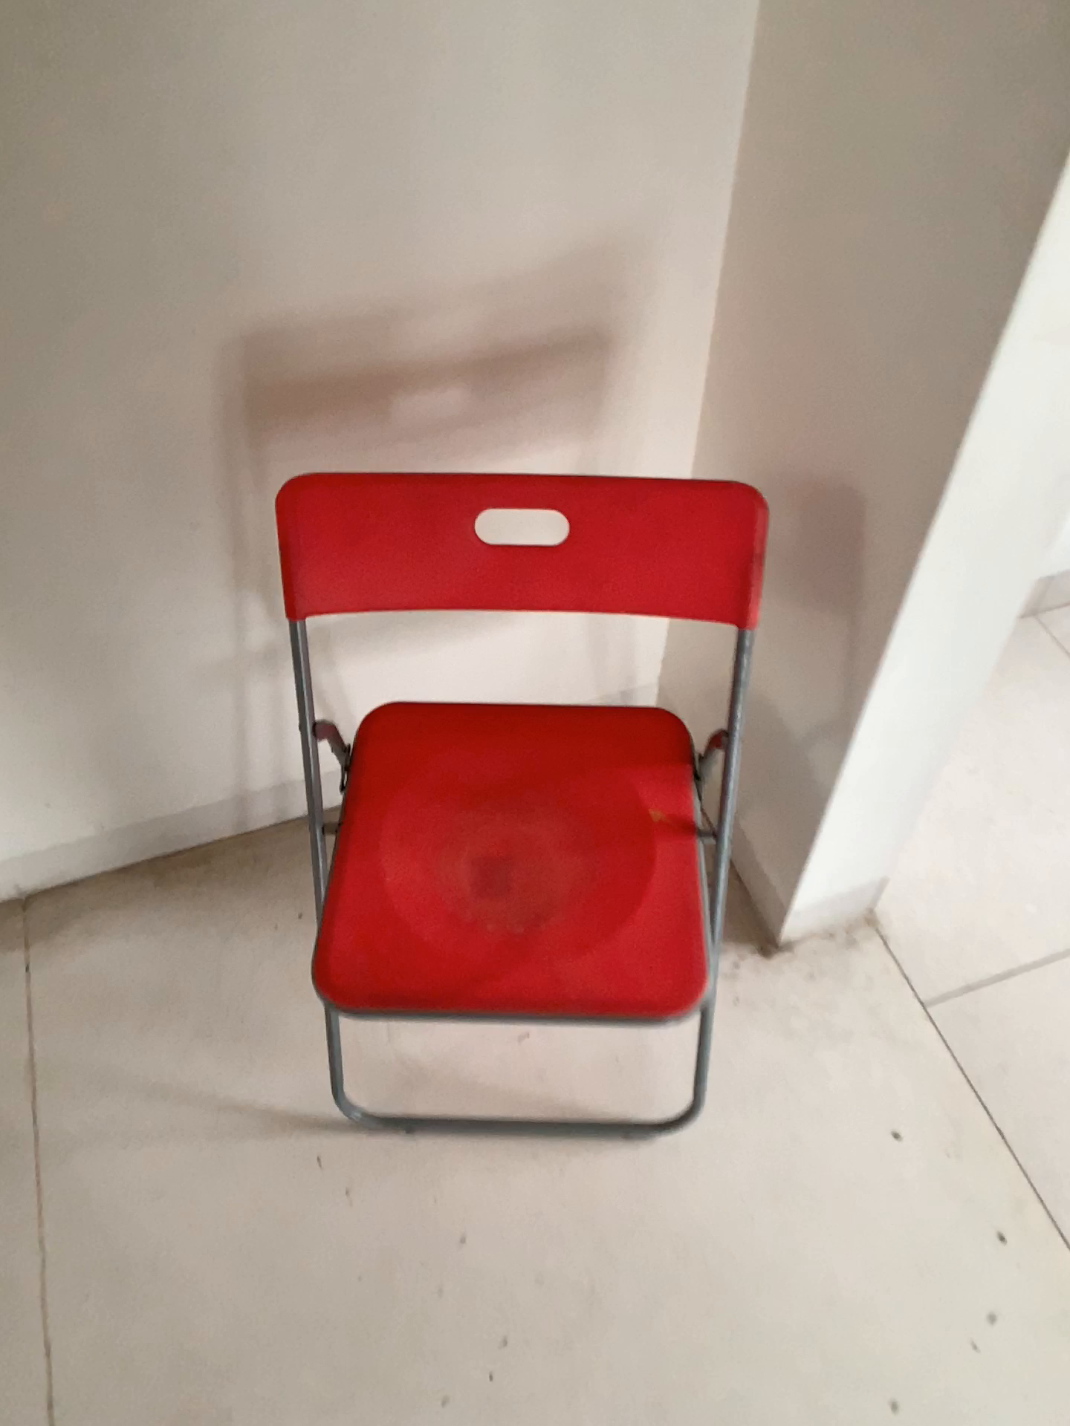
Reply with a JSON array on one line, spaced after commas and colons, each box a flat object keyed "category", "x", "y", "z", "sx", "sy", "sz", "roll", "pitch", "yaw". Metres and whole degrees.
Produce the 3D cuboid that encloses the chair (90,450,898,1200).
[{"category": "chair", "x": -0.025, "y": 0.140, "z": 1.107, "sx": 0.530, "sy": 0.608, "sz": 0.502, "roll": 1, "pitch": 51, "yaw": 1}]
